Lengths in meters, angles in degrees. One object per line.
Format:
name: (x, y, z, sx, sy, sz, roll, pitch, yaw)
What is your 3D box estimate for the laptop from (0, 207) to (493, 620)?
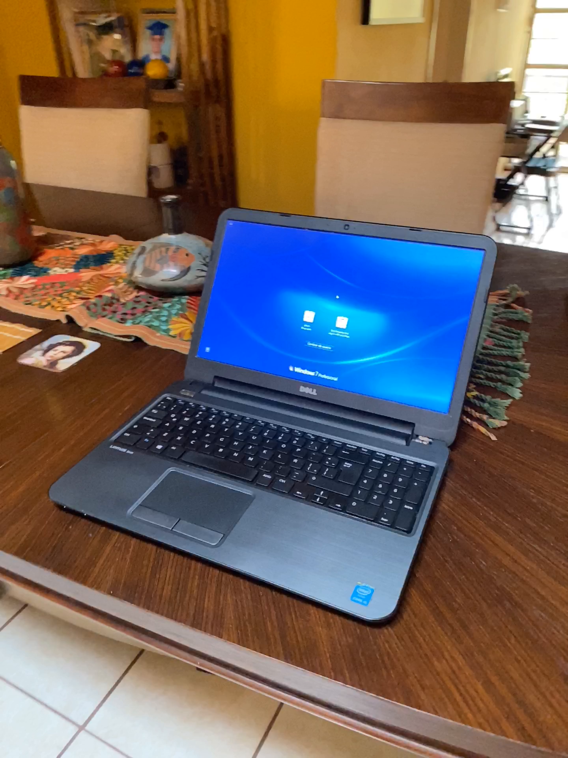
laptop: (-0.002, -0.022, 0.644, 0.367, 0.194, 0.397, 13, 34, 21)
